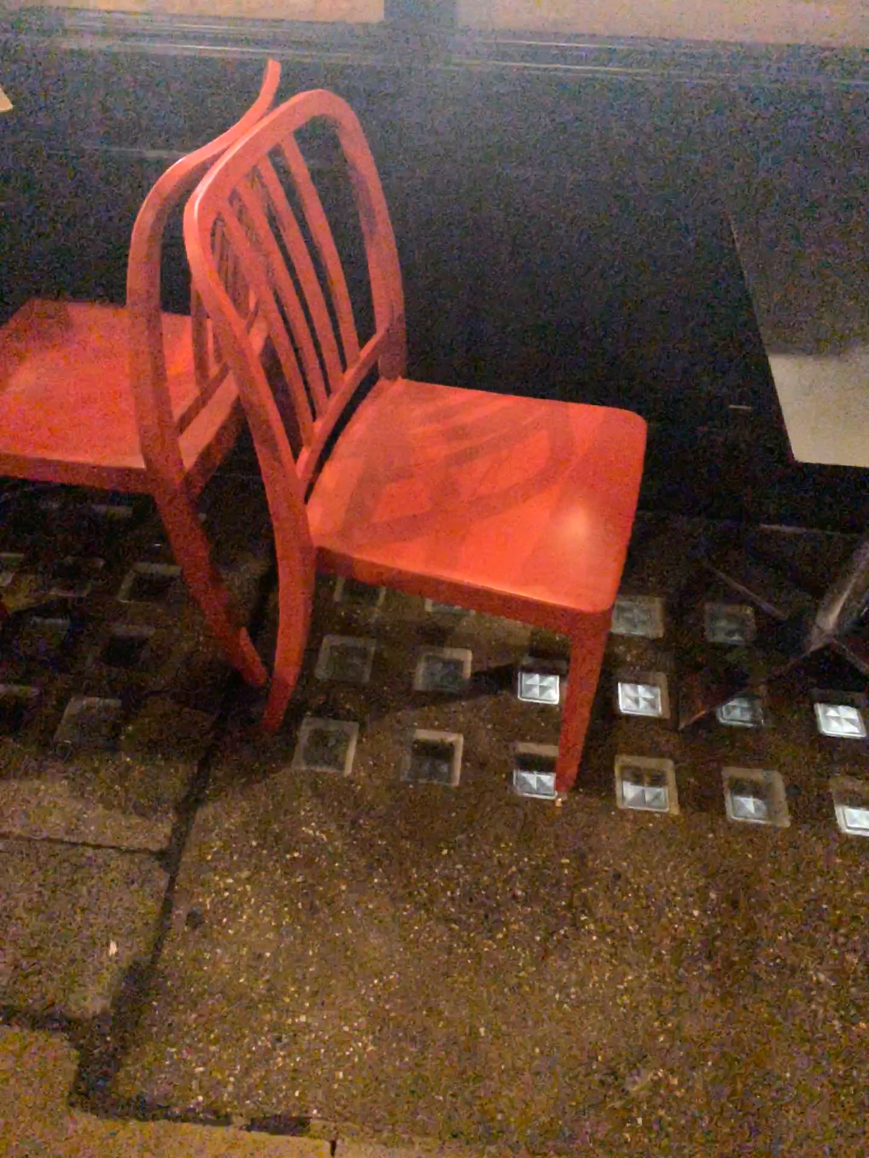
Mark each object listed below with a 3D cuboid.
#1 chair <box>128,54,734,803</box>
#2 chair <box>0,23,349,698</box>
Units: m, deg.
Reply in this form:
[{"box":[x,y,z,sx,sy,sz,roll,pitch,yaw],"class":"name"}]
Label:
[{"box":[0.031,-0.194,1.302,0.560,0.852,0.575,8,45,7],"class":"chair"},{"box":[-0.477,-0.317,1.417,0.540,0.852,0.545,6,45,4],"class":"chair"}]
